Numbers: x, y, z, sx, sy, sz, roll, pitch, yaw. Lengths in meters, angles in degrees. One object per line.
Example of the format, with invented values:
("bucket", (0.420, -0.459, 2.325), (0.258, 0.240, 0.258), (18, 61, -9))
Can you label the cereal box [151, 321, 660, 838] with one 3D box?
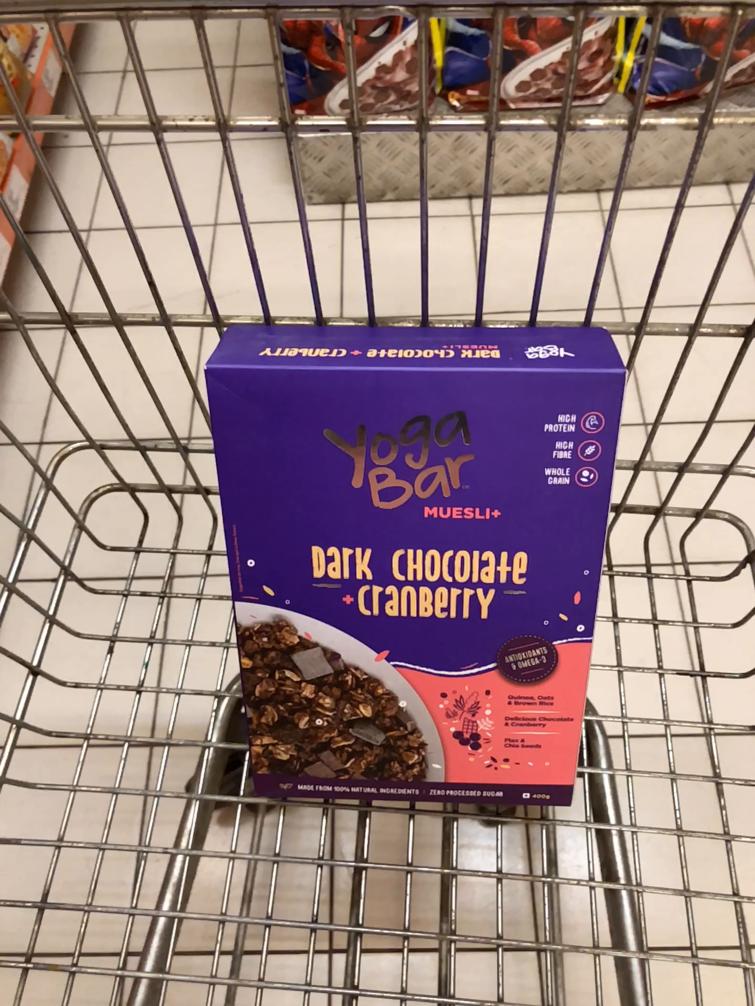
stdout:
("cereal box", (0.011, 0.040, 0.375), (0.180, 0.229, 0.060), (1, 27, 4))
